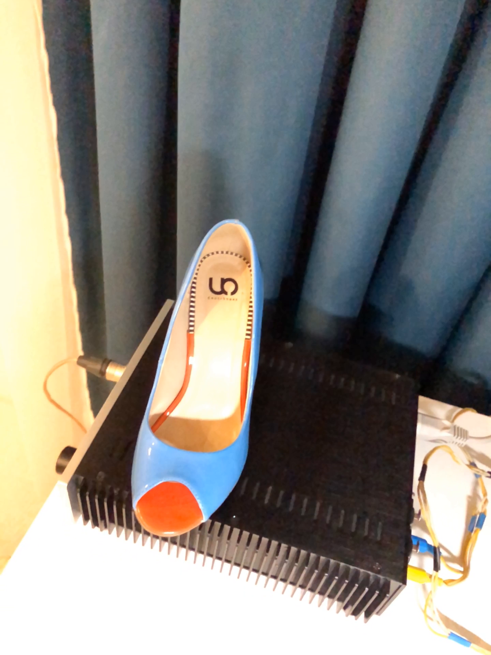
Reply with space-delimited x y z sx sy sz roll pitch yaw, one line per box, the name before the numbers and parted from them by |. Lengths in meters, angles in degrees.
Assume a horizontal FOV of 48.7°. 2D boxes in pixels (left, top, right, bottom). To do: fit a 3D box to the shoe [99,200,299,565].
shoe | -0.025 0.032 0.412 0.080 0.149 0.222 12 44 4
